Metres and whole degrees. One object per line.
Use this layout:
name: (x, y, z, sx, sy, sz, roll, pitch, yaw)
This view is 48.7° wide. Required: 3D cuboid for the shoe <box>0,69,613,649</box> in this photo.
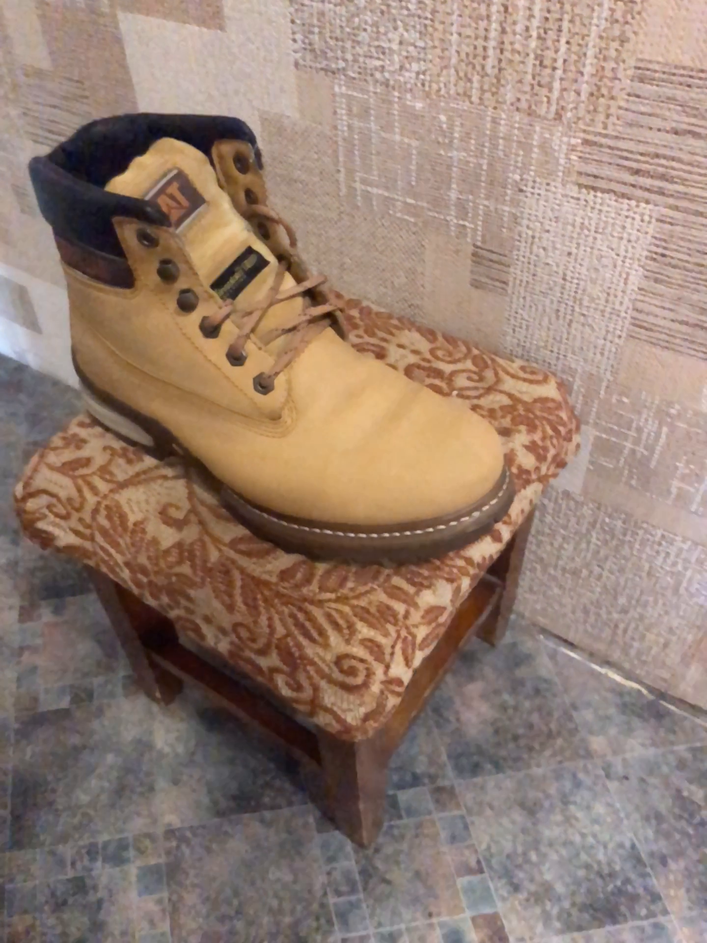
shoe: (-0.043, -0.070, 0.426, 0.291, 0.189, 0.130, 25, 52, 23)
